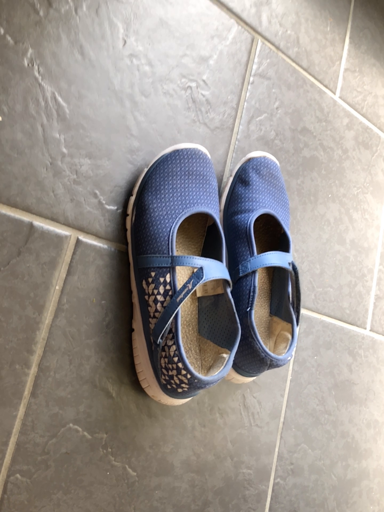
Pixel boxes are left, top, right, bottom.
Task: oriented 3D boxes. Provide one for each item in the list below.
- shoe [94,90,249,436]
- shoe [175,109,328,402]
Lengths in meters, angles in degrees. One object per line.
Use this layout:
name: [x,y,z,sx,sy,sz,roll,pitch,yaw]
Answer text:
shoe: [-0.023,0.007,0.435,0.110,0.120,0.290,3,86,-33]
shoe: [0.069,0.003,0.496,0.110,0.120,0.290,8,83,-33]
